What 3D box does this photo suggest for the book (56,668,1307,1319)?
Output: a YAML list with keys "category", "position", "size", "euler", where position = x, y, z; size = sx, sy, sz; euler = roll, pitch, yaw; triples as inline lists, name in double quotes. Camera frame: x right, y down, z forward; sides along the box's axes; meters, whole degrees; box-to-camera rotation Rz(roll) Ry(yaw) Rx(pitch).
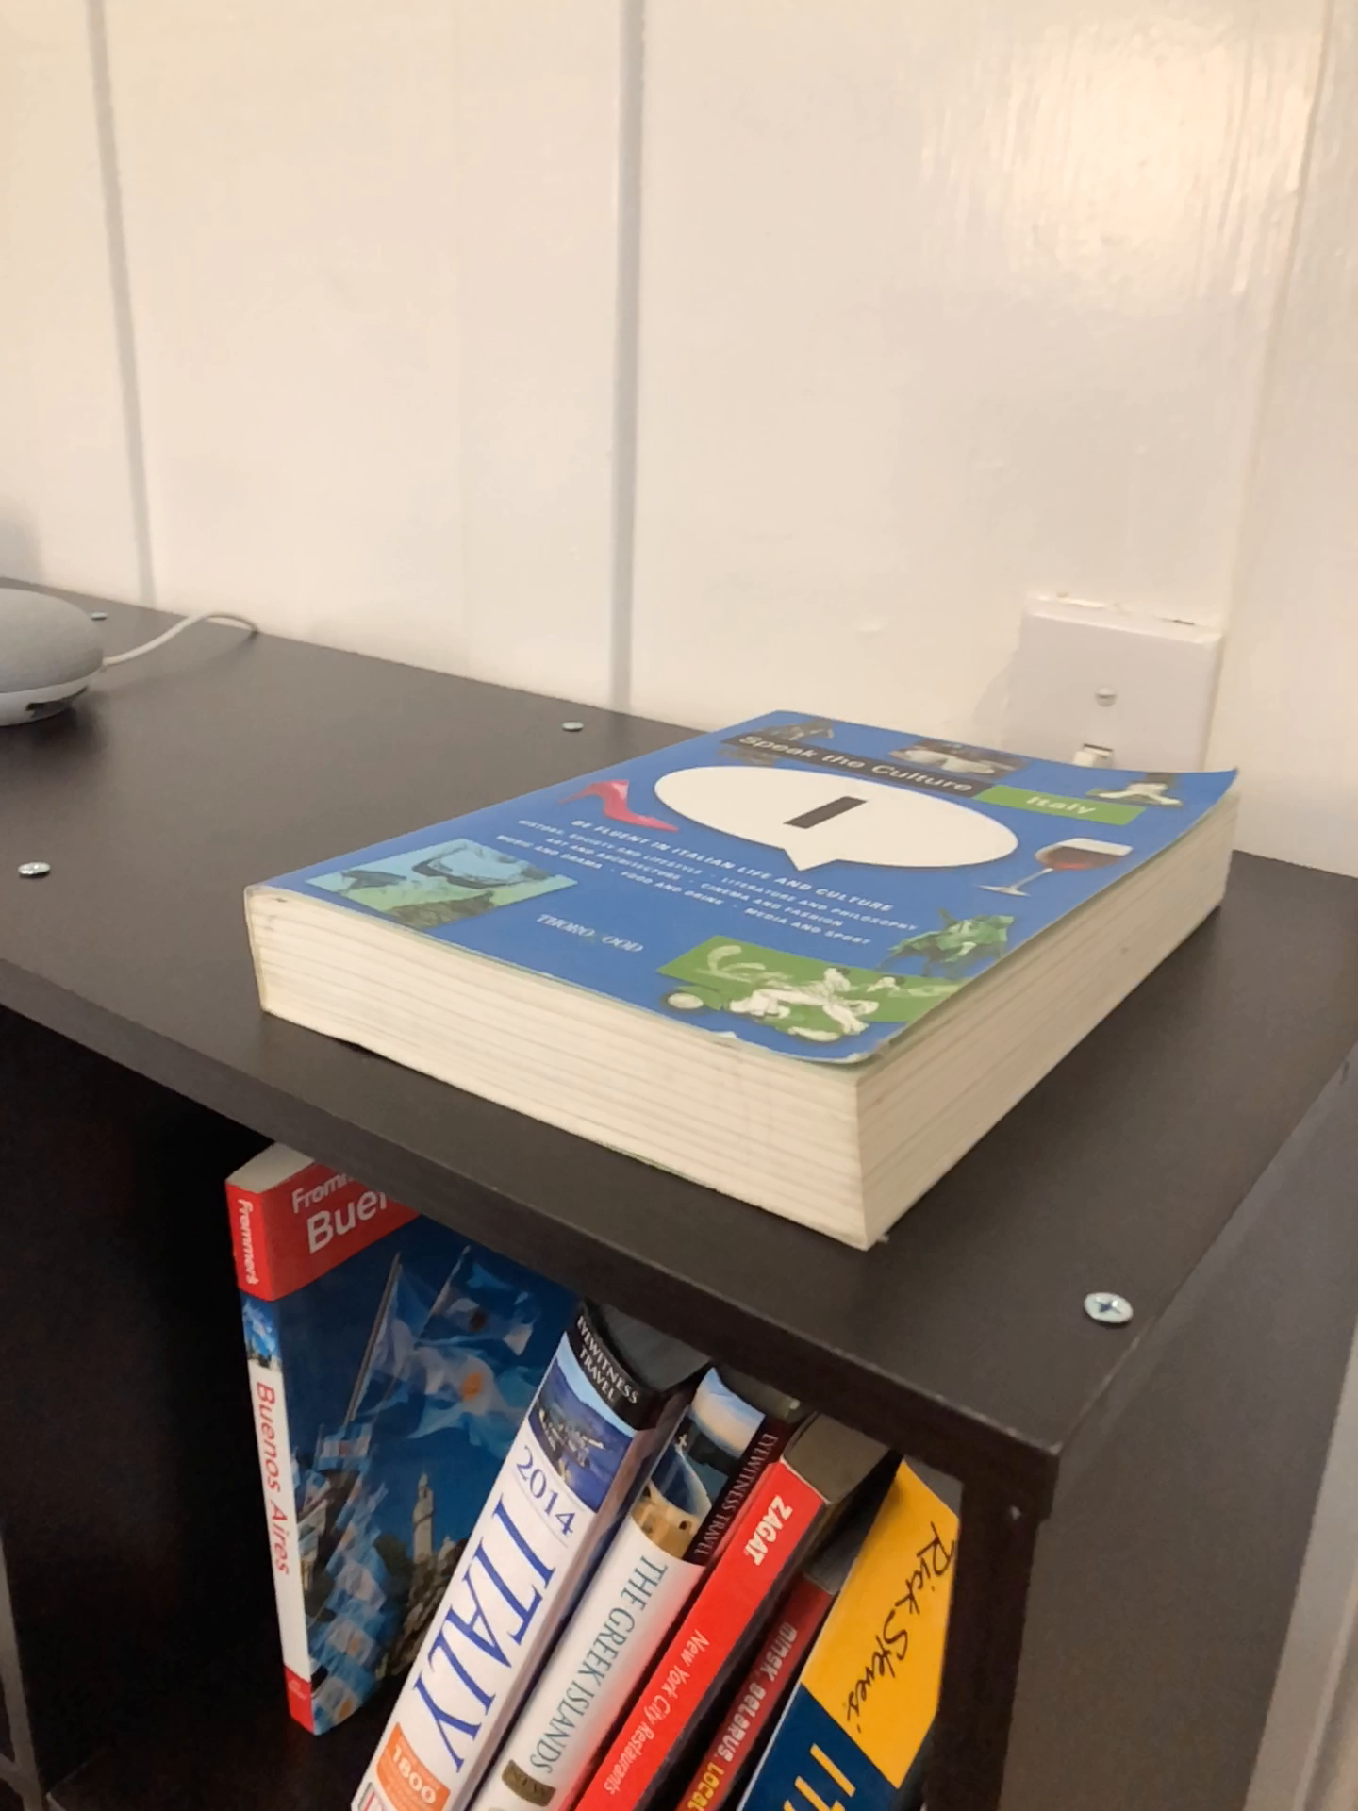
- category: "book"
  position: [0.021, -0.010, 0.378]
  size: [0.200, 0.030, 0.261]
  euler: [15, 25, 31]
